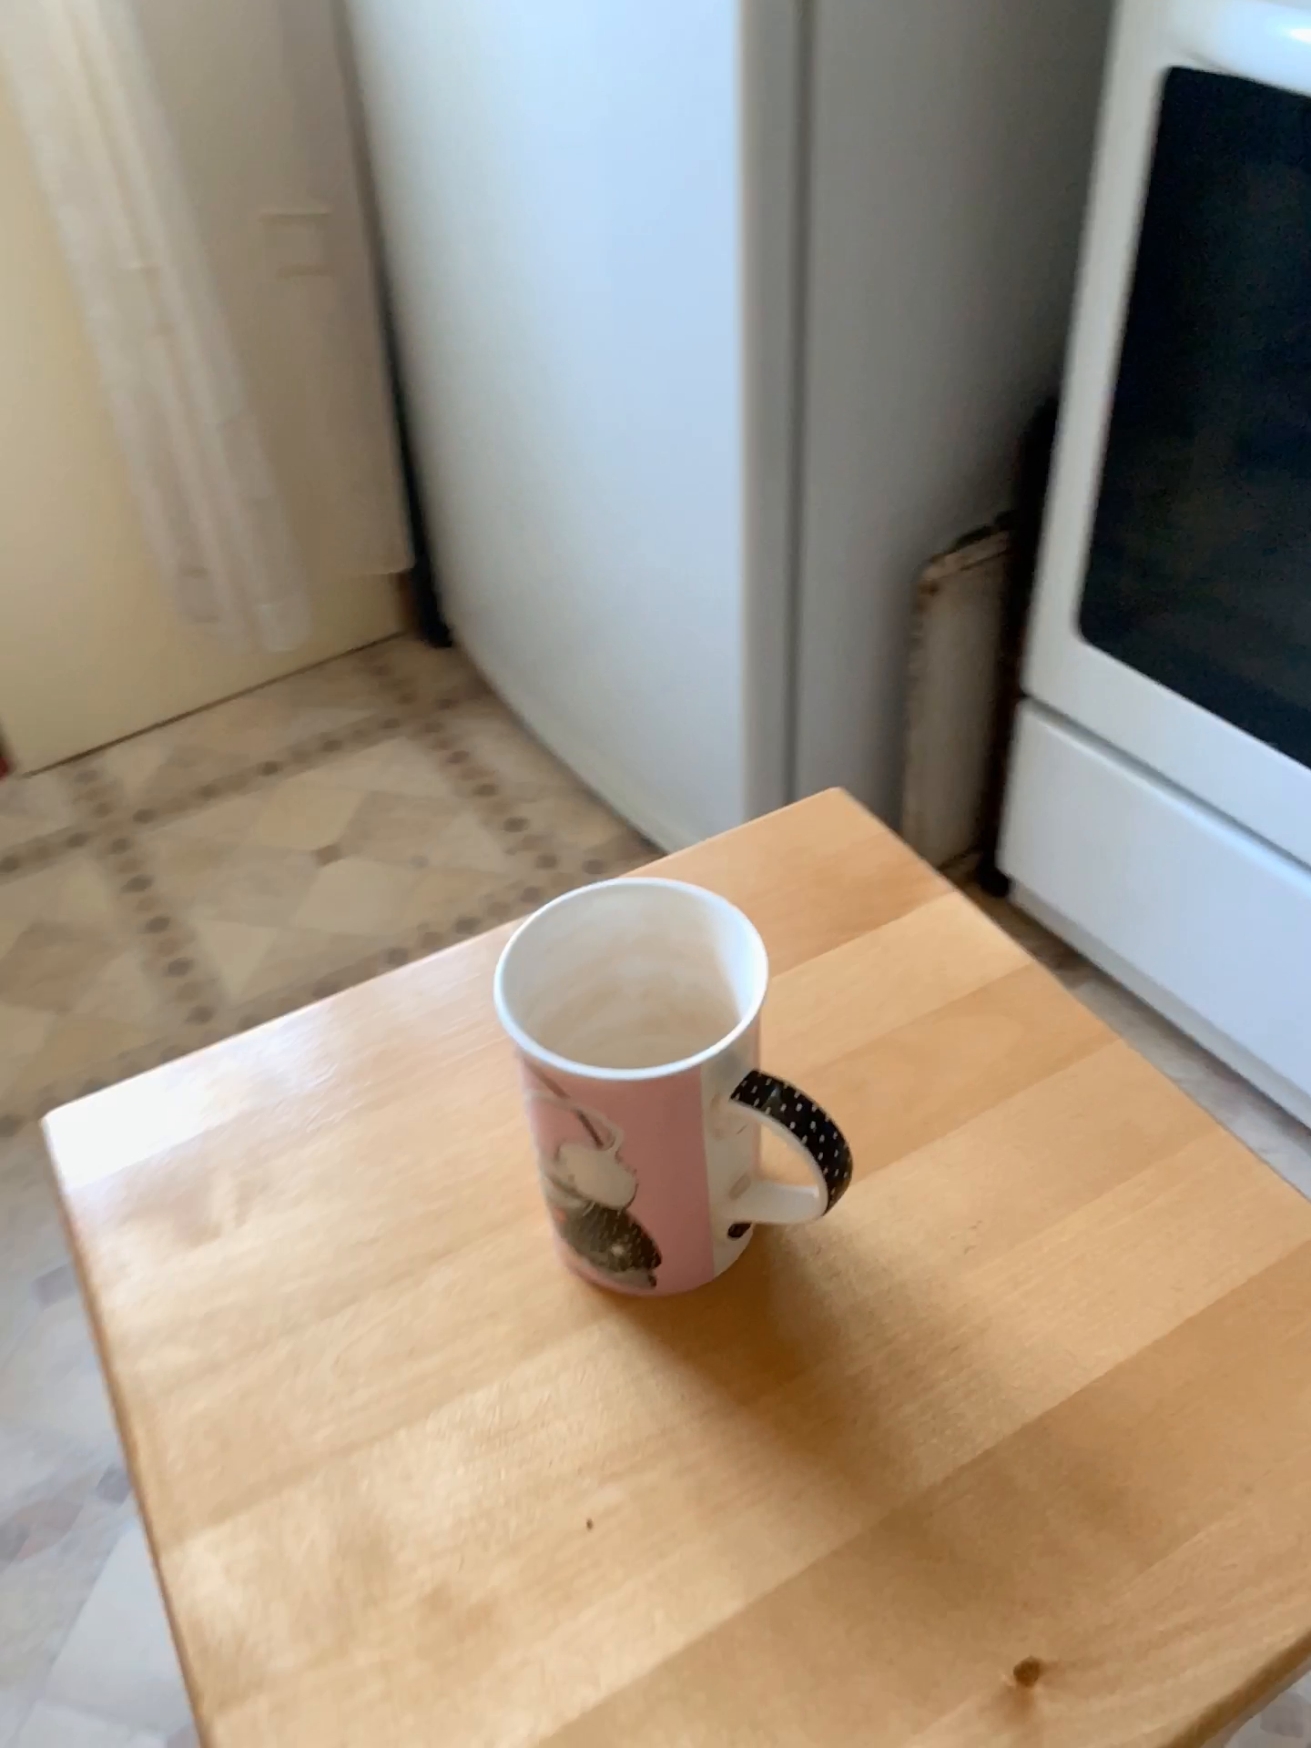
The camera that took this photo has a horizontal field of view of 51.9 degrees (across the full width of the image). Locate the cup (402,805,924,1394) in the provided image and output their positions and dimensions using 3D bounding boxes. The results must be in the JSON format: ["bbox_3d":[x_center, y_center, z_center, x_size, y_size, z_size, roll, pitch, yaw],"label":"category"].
[{"bbox_3d":[0.004,0.061,0.383,0.114,0.107,0.075,23,48,29],"label":"cup"}]
